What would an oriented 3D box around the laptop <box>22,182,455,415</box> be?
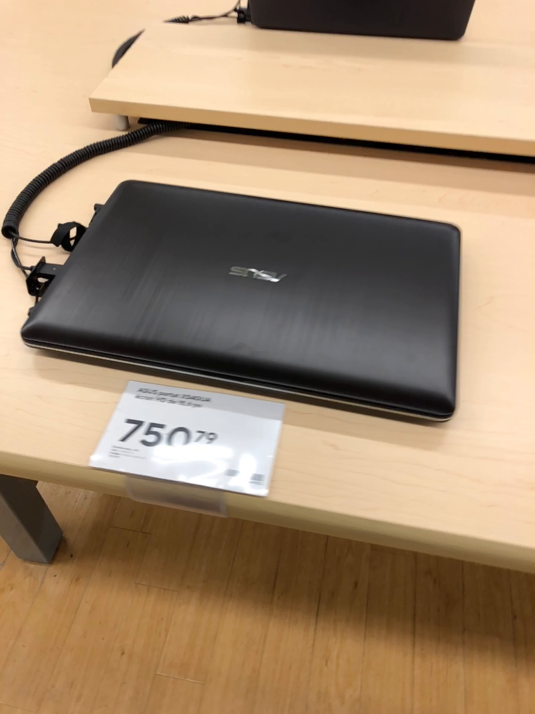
[{"bbox_3d":[-0.012,-0.075,0.569,0.369,0.010,0.228,10,52,8],"label":"laptop"}]
